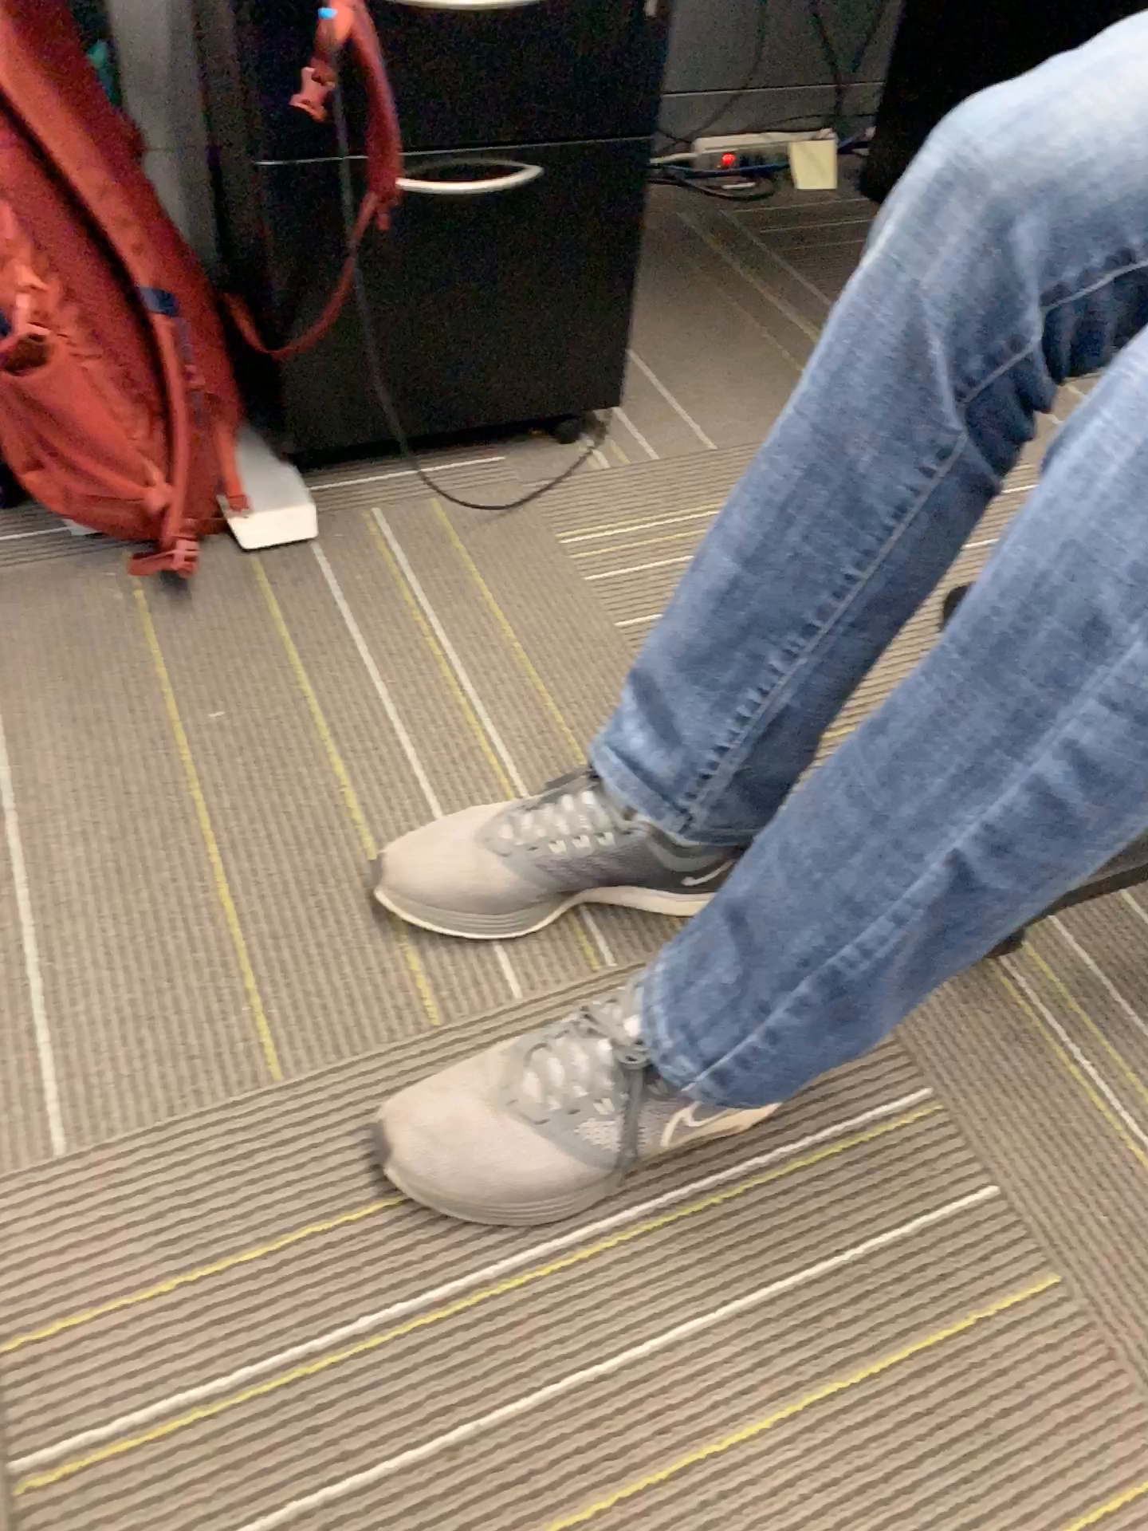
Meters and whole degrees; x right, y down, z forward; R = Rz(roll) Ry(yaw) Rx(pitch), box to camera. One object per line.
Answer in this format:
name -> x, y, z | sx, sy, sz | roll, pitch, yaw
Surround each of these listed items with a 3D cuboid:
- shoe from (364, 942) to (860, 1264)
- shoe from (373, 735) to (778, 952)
shoe -> 0.019, 0.211, 0.754 | 0.286, 0.078, 0.125 | -8, 48, -14
shoe -> -0.006, 0.056, 0.884 | 0.283, 0.078, 0.133 | -2, 47, -8
